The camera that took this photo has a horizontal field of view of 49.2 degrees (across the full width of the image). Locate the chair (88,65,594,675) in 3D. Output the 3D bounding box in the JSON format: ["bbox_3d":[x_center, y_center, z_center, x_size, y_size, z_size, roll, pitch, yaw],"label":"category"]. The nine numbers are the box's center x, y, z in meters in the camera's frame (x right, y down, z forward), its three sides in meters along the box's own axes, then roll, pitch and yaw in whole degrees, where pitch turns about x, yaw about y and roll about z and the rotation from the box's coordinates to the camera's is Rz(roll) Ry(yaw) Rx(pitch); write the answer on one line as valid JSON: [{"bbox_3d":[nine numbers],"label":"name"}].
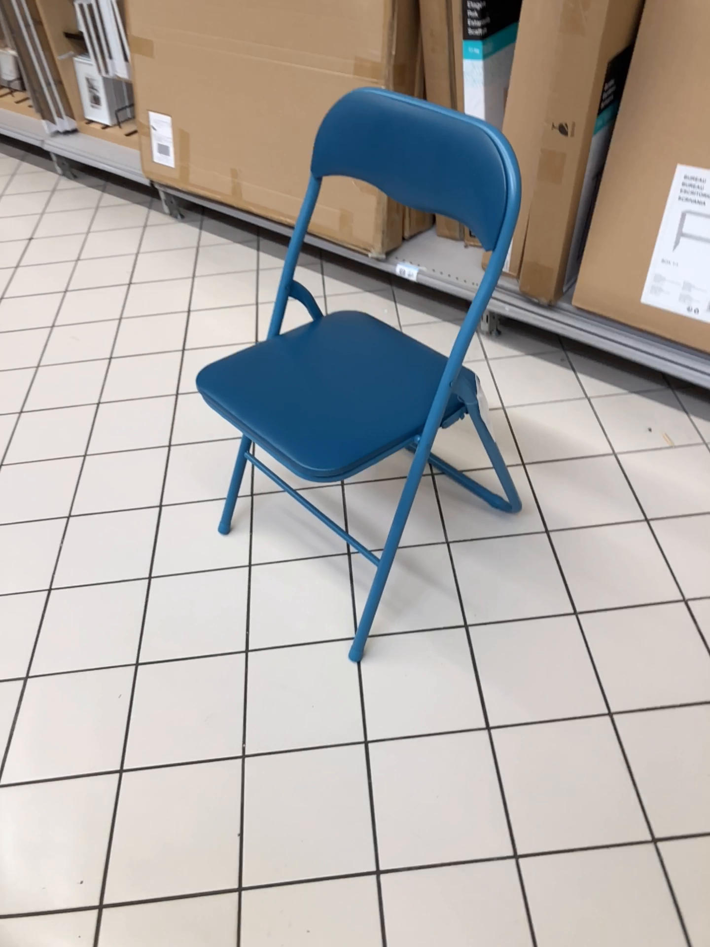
[{"bbox_3d":[-0.003,-0.176,1.332,0.502,0.765,0.501,-31,48,-25],"label":"chair"}]
